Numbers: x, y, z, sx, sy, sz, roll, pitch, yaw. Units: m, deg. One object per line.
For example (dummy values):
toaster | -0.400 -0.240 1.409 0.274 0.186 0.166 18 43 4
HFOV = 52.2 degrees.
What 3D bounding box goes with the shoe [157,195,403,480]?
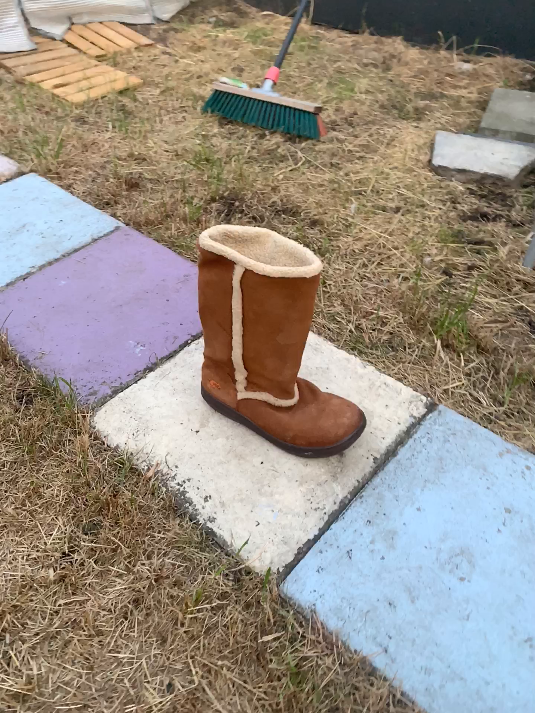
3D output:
shoe | 0.011 -0.022 0.722 0.261 0.297 0.111 22 47 23
